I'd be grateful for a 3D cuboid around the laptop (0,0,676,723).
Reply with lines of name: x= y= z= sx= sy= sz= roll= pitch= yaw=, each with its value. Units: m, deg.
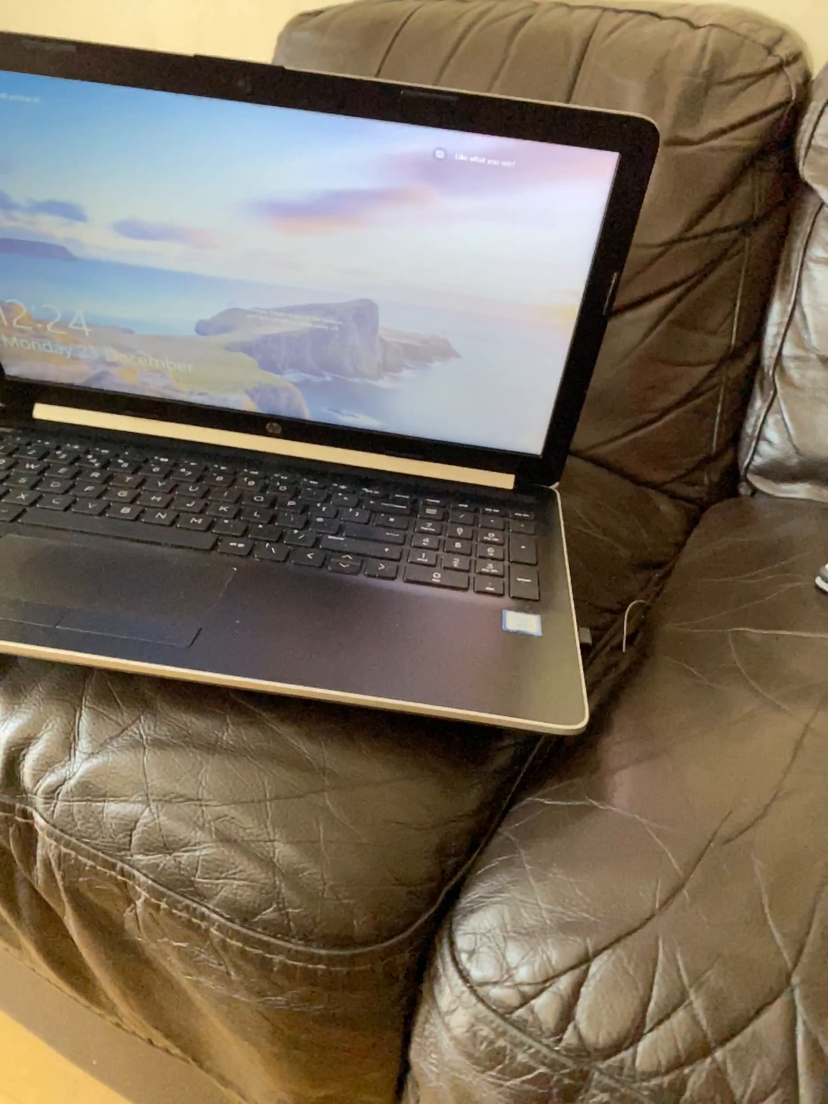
laptop: x=-0.100 y=-0.108 z=0.408 sx=0.371 sy=0.211 sz=0.238 roll=7 pitch=27 yaw=3
